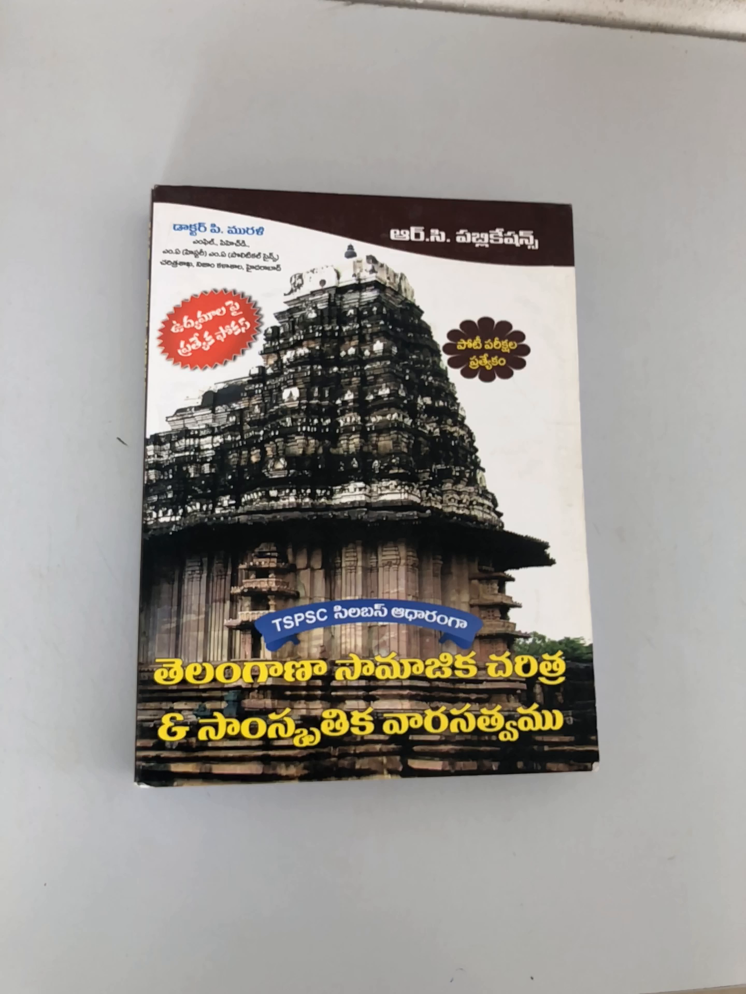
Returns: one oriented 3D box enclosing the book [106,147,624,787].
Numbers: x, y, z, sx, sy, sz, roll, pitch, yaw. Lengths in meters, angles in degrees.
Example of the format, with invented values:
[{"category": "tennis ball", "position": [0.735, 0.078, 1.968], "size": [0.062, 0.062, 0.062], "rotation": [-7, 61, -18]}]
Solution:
[{"category": "book", "position": [-0.003, -0.014, 0.325], "size": [0.180, 0.040, 0.230], "rotation": [1, 80, -8]}]
